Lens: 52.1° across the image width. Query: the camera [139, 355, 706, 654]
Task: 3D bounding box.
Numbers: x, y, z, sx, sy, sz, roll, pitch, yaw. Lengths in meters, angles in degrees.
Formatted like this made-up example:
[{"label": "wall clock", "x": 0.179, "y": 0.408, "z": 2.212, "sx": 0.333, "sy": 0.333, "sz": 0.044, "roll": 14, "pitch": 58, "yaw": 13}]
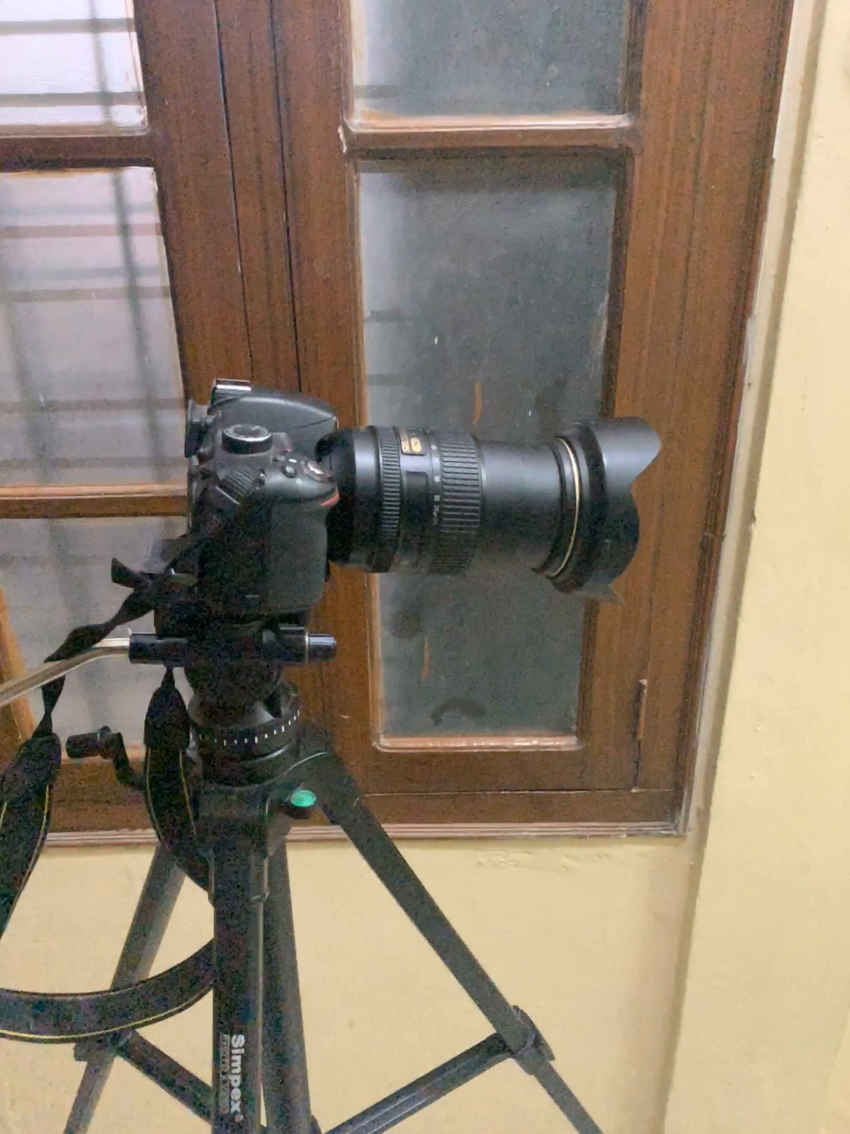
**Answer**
[{"label": "camera", "x": -0.009, "y": -0.037, "z": 0.491, "sx": 0.270, "sy": 0.120, "sz": 0.131, "roll": 2, "pitch": 24, "yaw": -10}]
